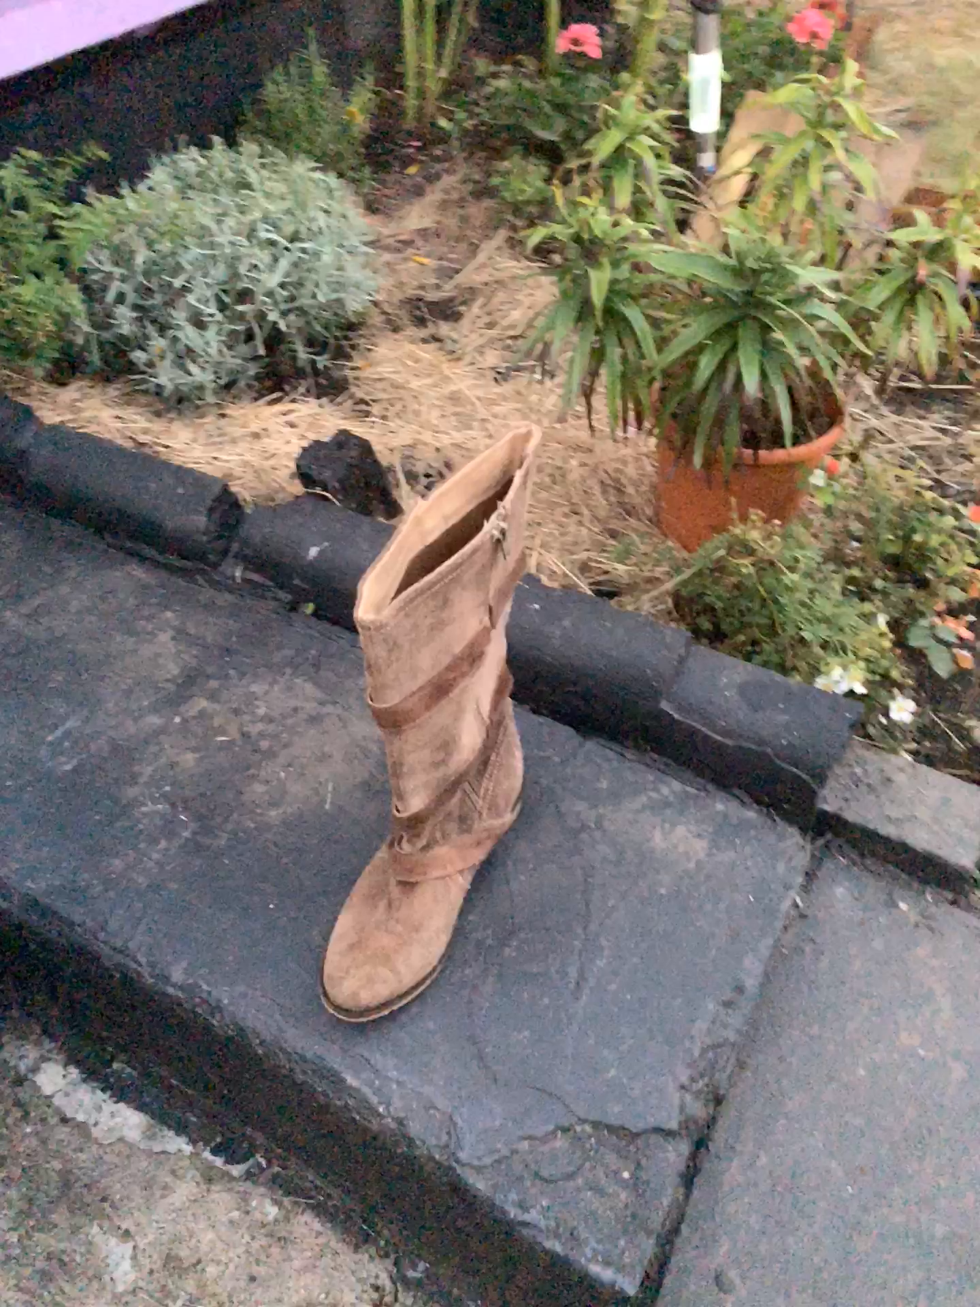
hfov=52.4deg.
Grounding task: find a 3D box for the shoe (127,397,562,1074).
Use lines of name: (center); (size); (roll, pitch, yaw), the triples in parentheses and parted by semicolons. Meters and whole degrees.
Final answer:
shoe: (-0.059, 0.069, 0.678); (0.100, 0.376, 0.272); (21, 51, 21)
